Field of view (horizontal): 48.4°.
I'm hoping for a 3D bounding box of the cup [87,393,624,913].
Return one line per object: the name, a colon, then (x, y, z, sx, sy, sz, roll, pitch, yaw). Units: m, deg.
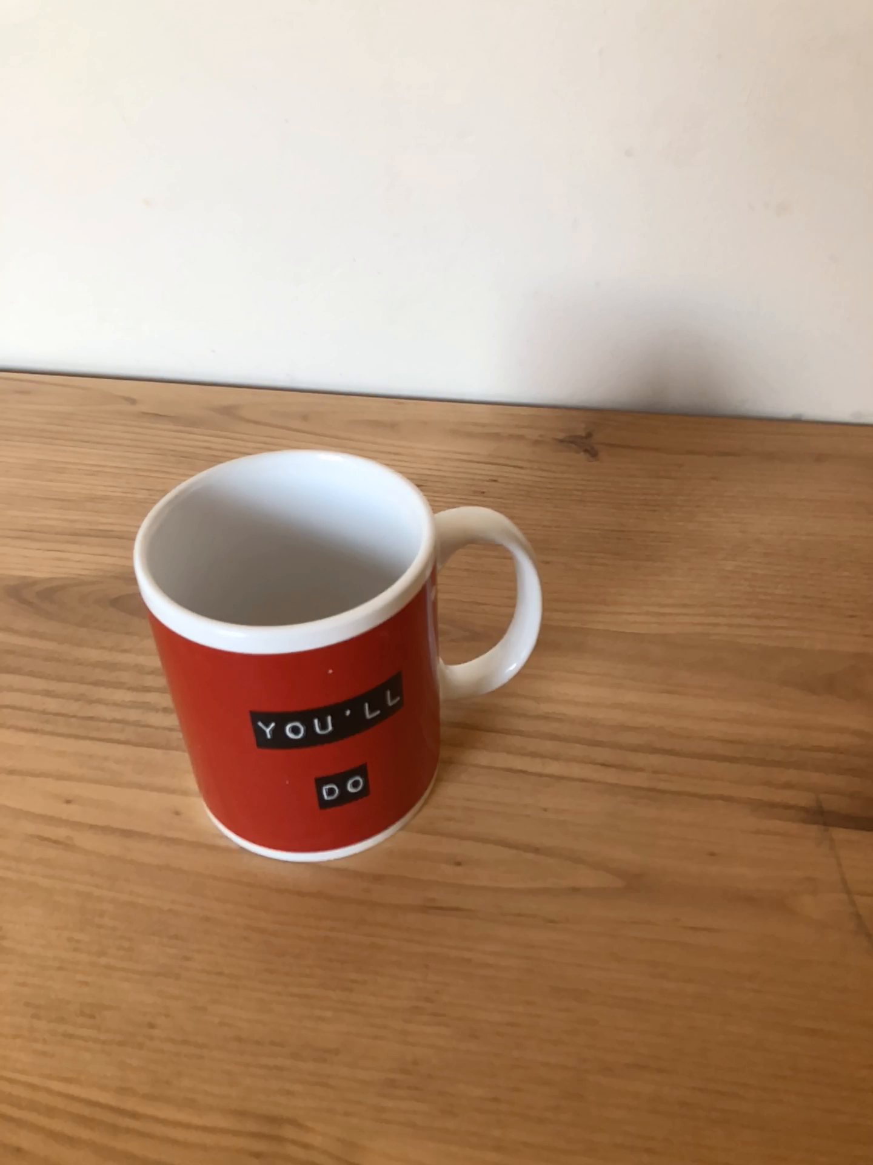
cup: (-0.025, 0.015, 0.289, 0.123, 0.086, 0.091, -16, 41, -15)
